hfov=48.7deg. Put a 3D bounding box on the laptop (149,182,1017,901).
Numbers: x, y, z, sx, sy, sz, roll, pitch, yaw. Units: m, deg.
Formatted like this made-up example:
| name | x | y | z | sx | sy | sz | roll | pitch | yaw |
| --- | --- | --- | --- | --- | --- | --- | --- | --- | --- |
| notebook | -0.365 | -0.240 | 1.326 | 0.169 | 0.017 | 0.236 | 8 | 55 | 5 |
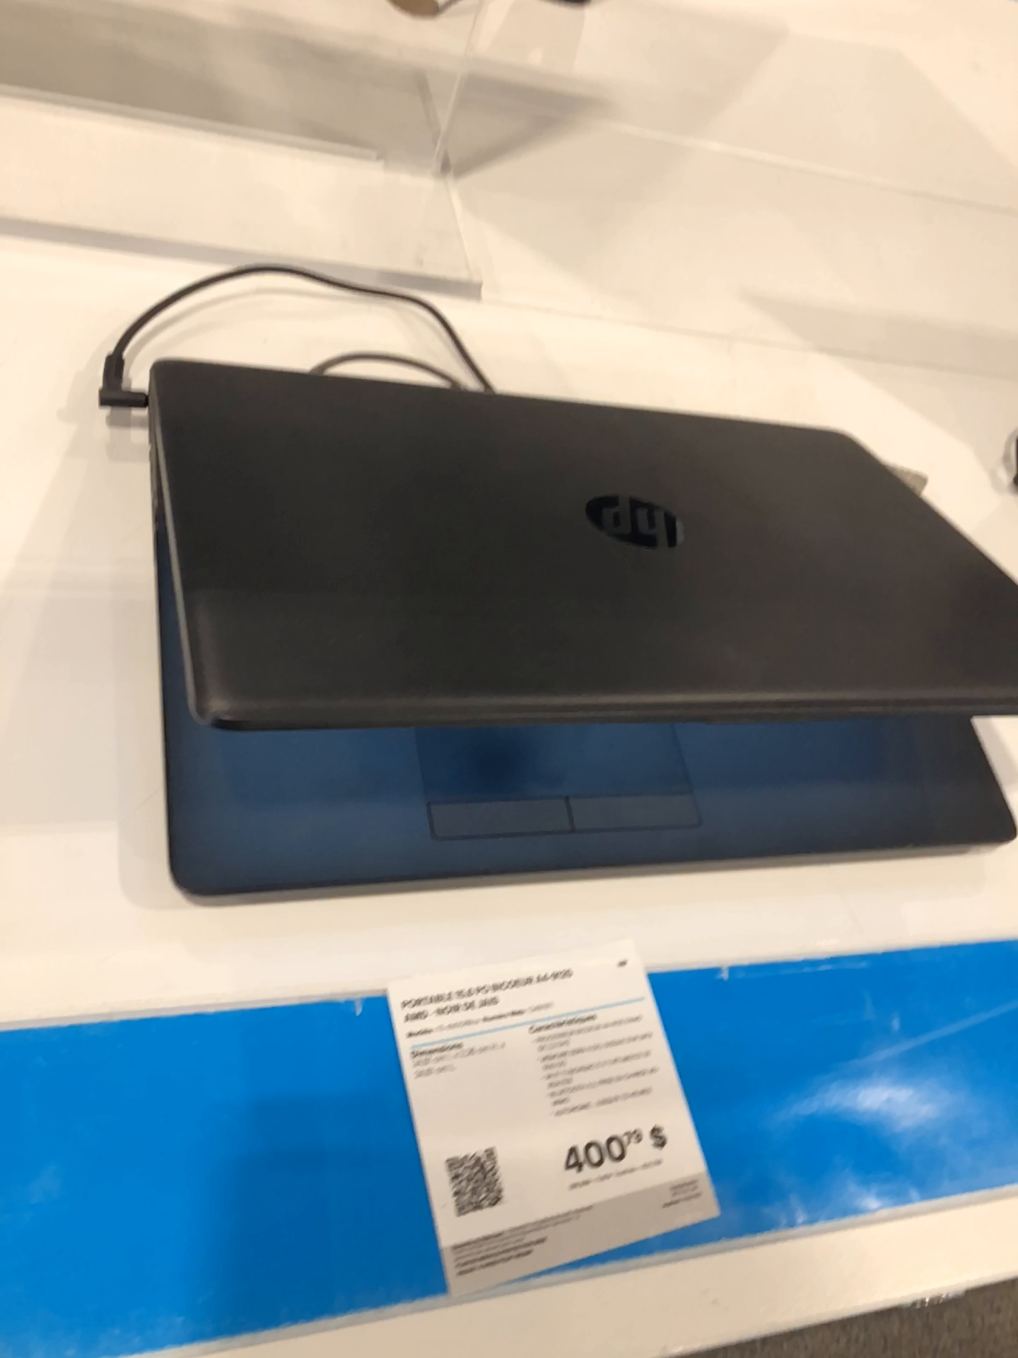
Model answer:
| name | x | y | z | sx | sy | sz | roll | pitch | yaw |
| --- | --- | --- | --- | --- | --- | --- | --- | --- | --- |
| laptop | 0.050 | -0.055 | 0.457 | 0.366 | 0.092 | 0.235 | 0 | 58 | -25 |
